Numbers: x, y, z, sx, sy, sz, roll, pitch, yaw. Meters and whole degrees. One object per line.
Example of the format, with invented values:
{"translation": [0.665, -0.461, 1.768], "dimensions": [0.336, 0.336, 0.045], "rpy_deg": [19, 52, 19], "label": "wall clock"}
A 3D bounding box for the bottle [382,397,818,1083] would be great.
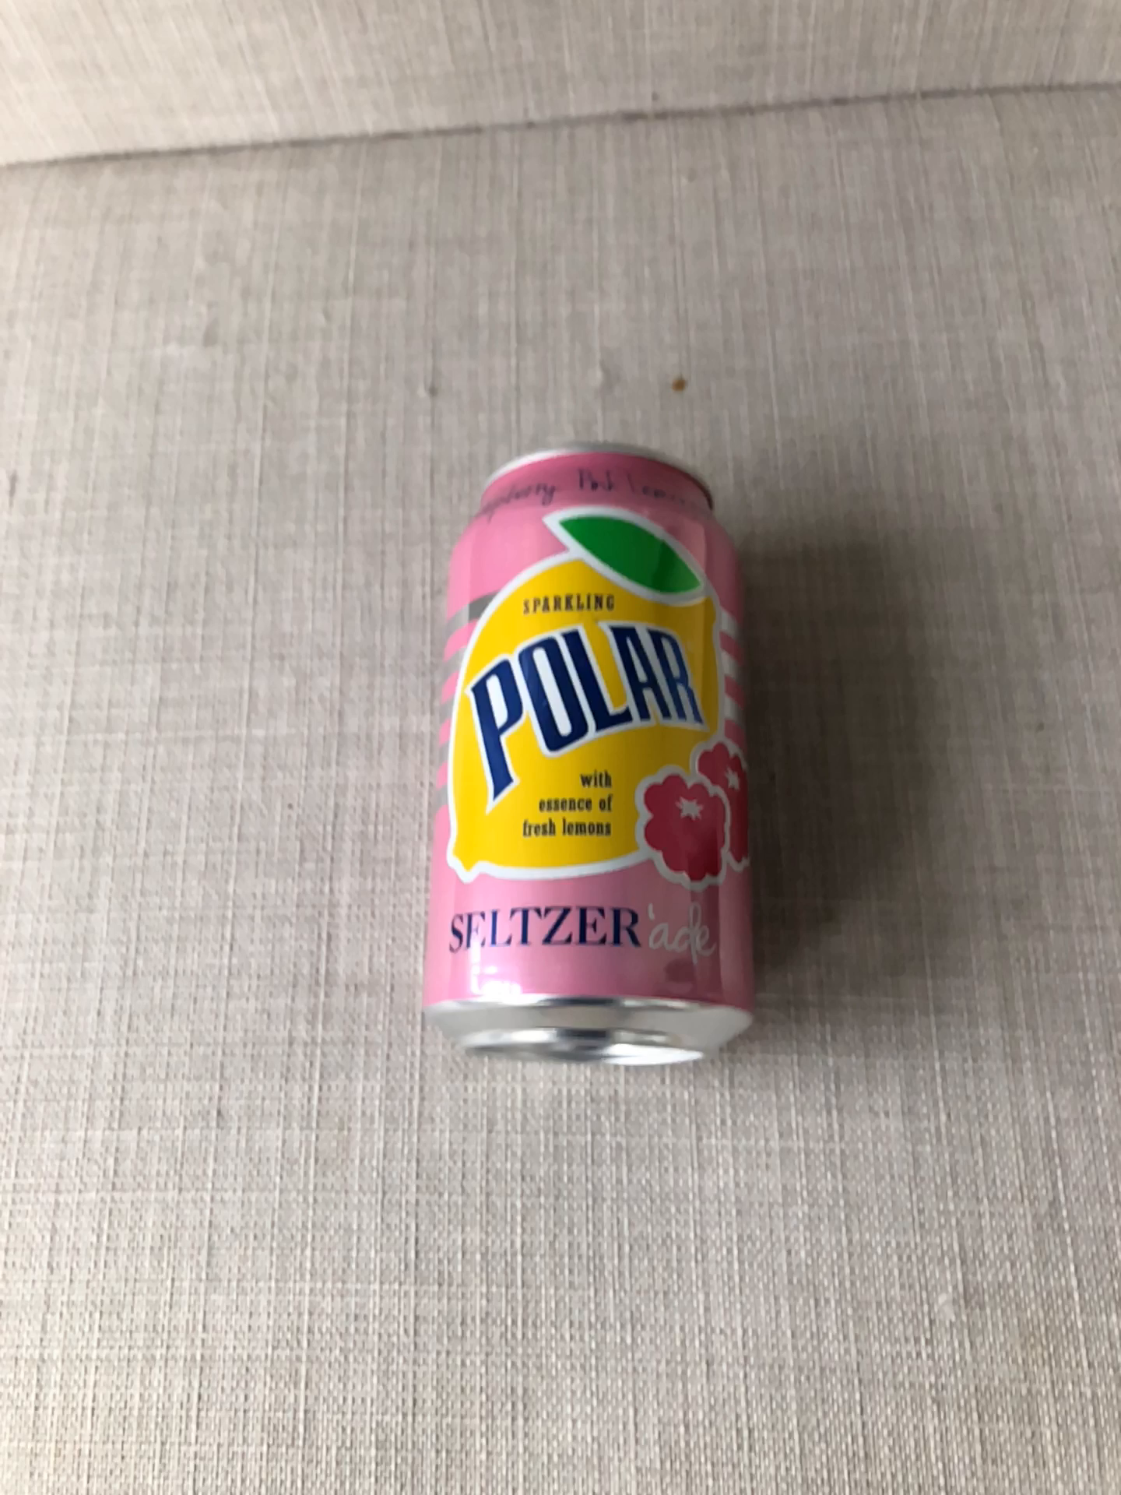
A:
{"translation": [0.008, 0.002, 0.252], "dimensions": [0.070, 0.065, 0.122], "rpy_deg": [-1, 72, 3], "label": "bottle"}
